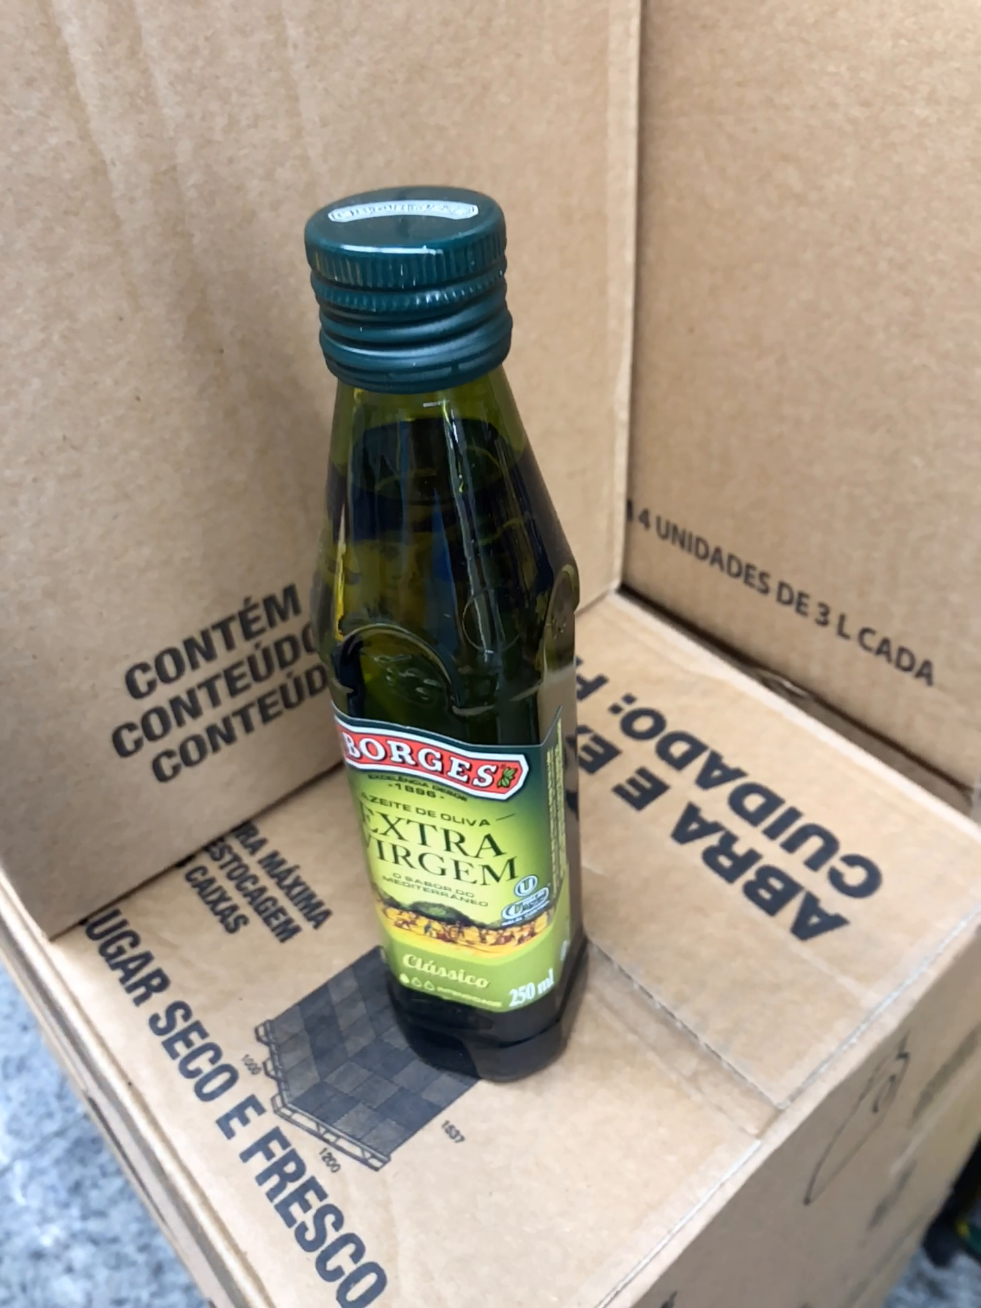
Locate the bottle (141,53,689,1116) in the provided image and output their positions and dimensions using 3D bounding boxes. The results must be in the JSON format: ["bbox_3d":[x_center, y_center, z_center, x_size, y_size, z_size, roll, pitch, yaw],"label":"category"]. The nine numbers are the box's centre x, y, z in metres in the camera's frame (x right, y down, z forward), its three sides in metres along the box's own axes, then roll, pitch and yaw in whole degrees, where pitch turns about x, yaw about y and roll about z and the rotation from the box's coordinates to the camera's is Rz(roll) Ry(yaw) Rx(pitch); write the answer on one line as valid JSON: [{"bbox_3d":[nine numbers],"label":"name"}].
[{"bbox_3d":[-0.002,0.007,0.225,0.060,0.218,0.060,-2,42,2],"label":"bottle"}]
